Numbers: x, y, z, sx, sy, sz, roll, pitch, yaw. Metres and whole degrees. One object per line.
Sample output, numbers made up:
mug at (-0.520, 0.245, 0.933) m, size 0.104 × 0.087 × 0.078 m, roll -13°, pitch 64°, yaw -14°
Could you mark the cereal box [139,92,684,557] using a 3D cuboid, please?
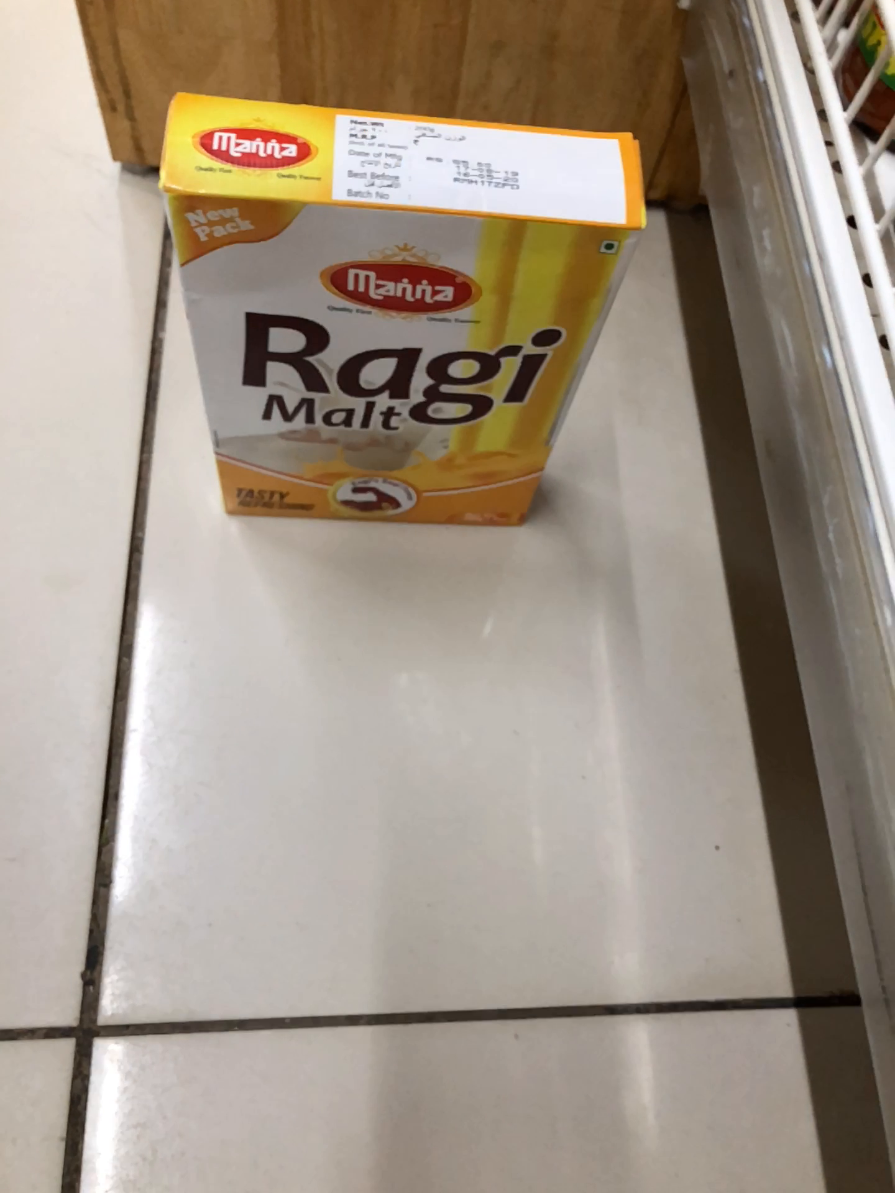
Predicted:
cereal box at (-0.015, -0.076, 0.345) m, size 0.140 × 0.179 × 0.040 m, roll 2°, pitch 64°, yaw -4°
